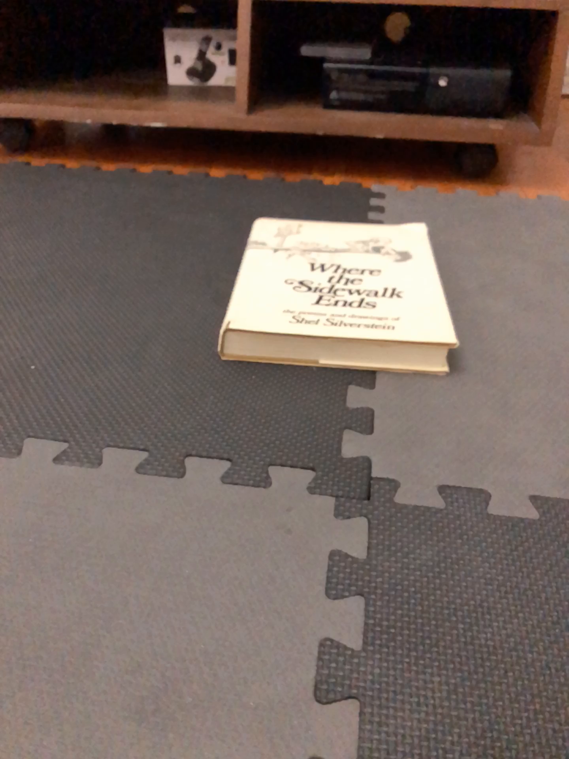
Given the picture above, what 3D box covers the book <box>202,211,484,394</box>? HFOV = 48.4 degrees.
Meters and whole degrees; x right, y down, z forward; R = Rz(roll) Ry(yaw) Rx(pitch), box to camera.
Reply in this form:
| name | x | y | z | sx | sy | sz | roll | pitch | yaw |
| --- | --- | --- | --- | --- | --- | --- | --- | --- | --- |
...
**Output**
| name | x | y | z | sx | sy | sz | roll | pitch | yaw |
| --- | --- | --- | --- | --- | --- | --- | --- | --- | --- |
| book | 0.053 | -0.087 | 0.574 | 0.200 | 0.030 | 0.282 | 4 | 34 | 4 |
